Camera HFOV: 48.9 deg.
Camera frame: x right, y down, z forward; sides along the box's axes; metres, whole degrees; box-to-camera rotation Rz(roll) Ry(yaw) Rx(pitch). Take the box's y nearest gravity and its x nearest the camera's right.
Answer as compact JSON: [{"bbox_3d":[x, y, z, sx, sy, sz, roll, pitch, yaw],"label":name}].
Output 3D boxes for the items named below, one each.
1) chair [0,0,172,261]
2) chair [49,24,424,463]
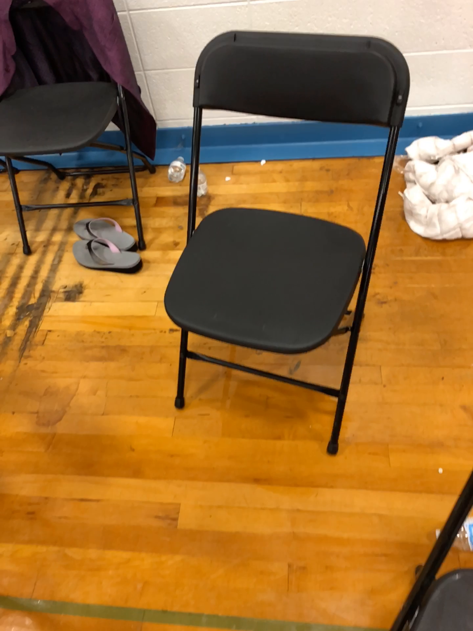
[{"bbox_3d":[-0.562,-0.653,1.643,0.481,0.790,0.546,-1,51,8],"label":"chair"},{"bbox_3d":[0.069,-0.133,1.133,0.472,0.720,0.526,12,54,17],"label":"chair"}]
